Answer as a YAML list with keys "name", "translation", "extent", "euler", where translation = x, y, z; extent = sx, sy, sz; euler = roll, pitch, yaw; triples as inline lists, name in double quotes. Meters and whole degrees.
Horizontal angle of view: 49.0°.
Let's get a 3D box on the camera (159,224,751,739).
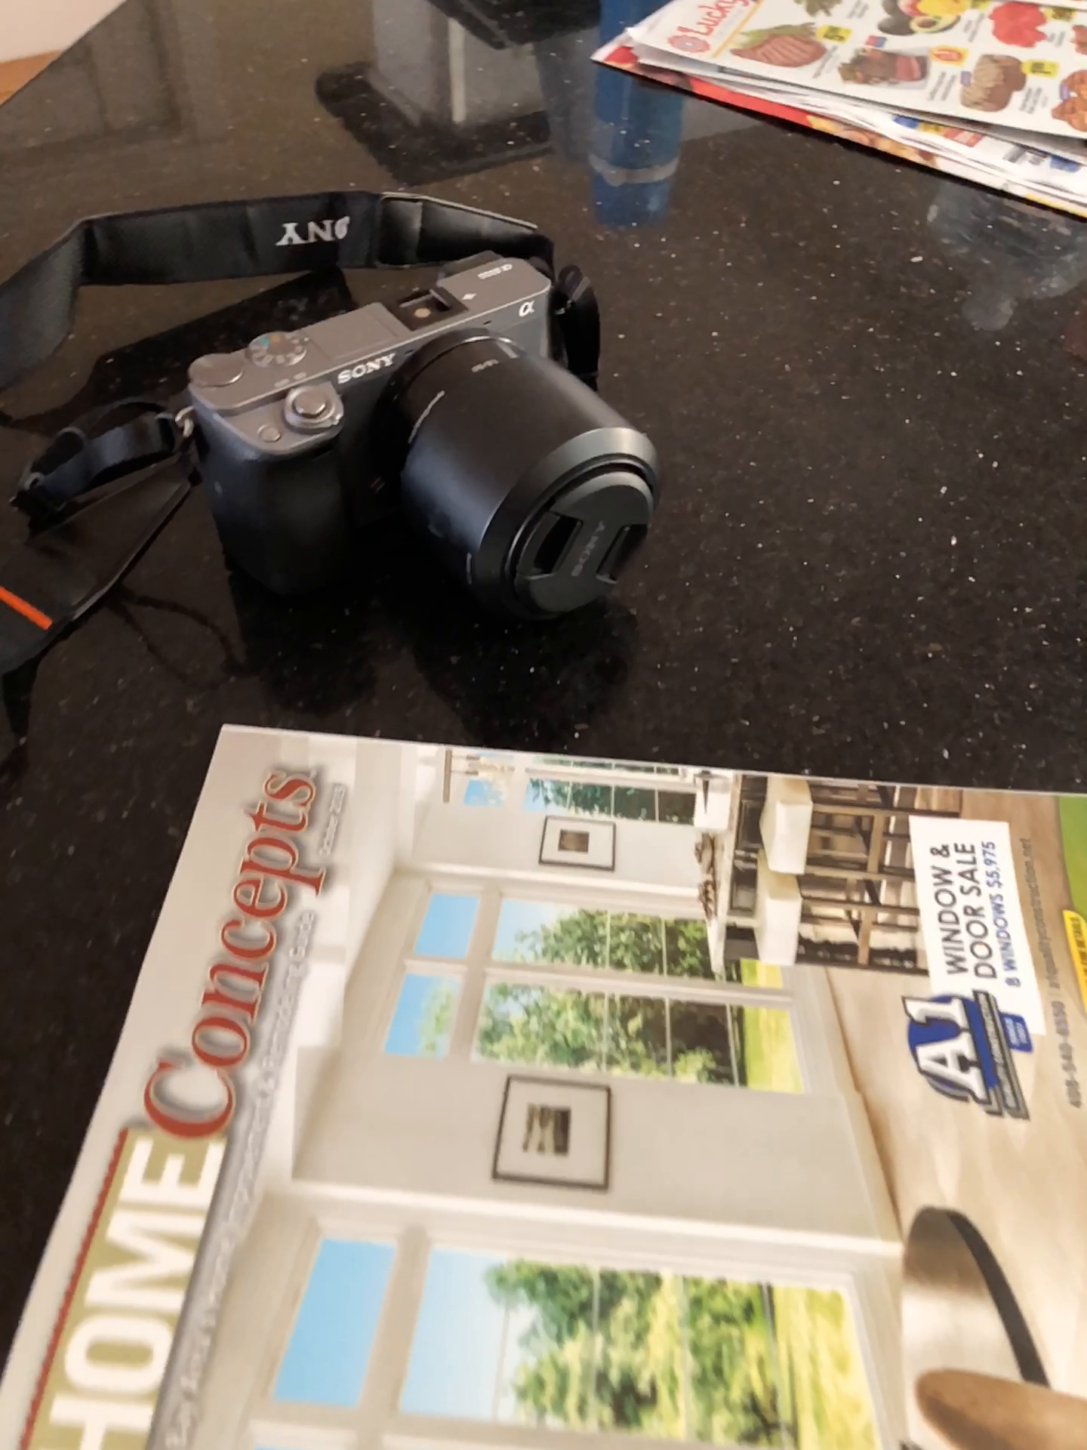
- name: "camera"
  translation: [-0.026, -0.077, 0.349]
  extent: [0.120, 0.060, 0.110]
  euler: [-29, 58, -23]
